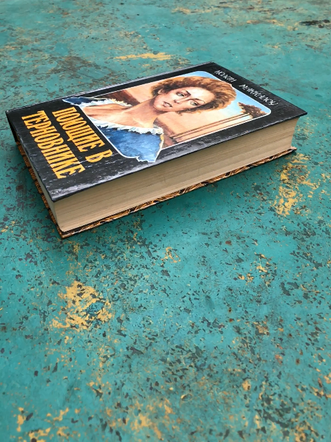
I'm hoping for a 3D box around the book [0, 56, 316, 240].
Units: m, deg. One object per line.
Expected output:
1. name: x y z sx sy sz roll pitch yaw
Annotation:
1. book: -0.011 -0.076 0.298 0.208 0.032 0.139 -21 46 -20
